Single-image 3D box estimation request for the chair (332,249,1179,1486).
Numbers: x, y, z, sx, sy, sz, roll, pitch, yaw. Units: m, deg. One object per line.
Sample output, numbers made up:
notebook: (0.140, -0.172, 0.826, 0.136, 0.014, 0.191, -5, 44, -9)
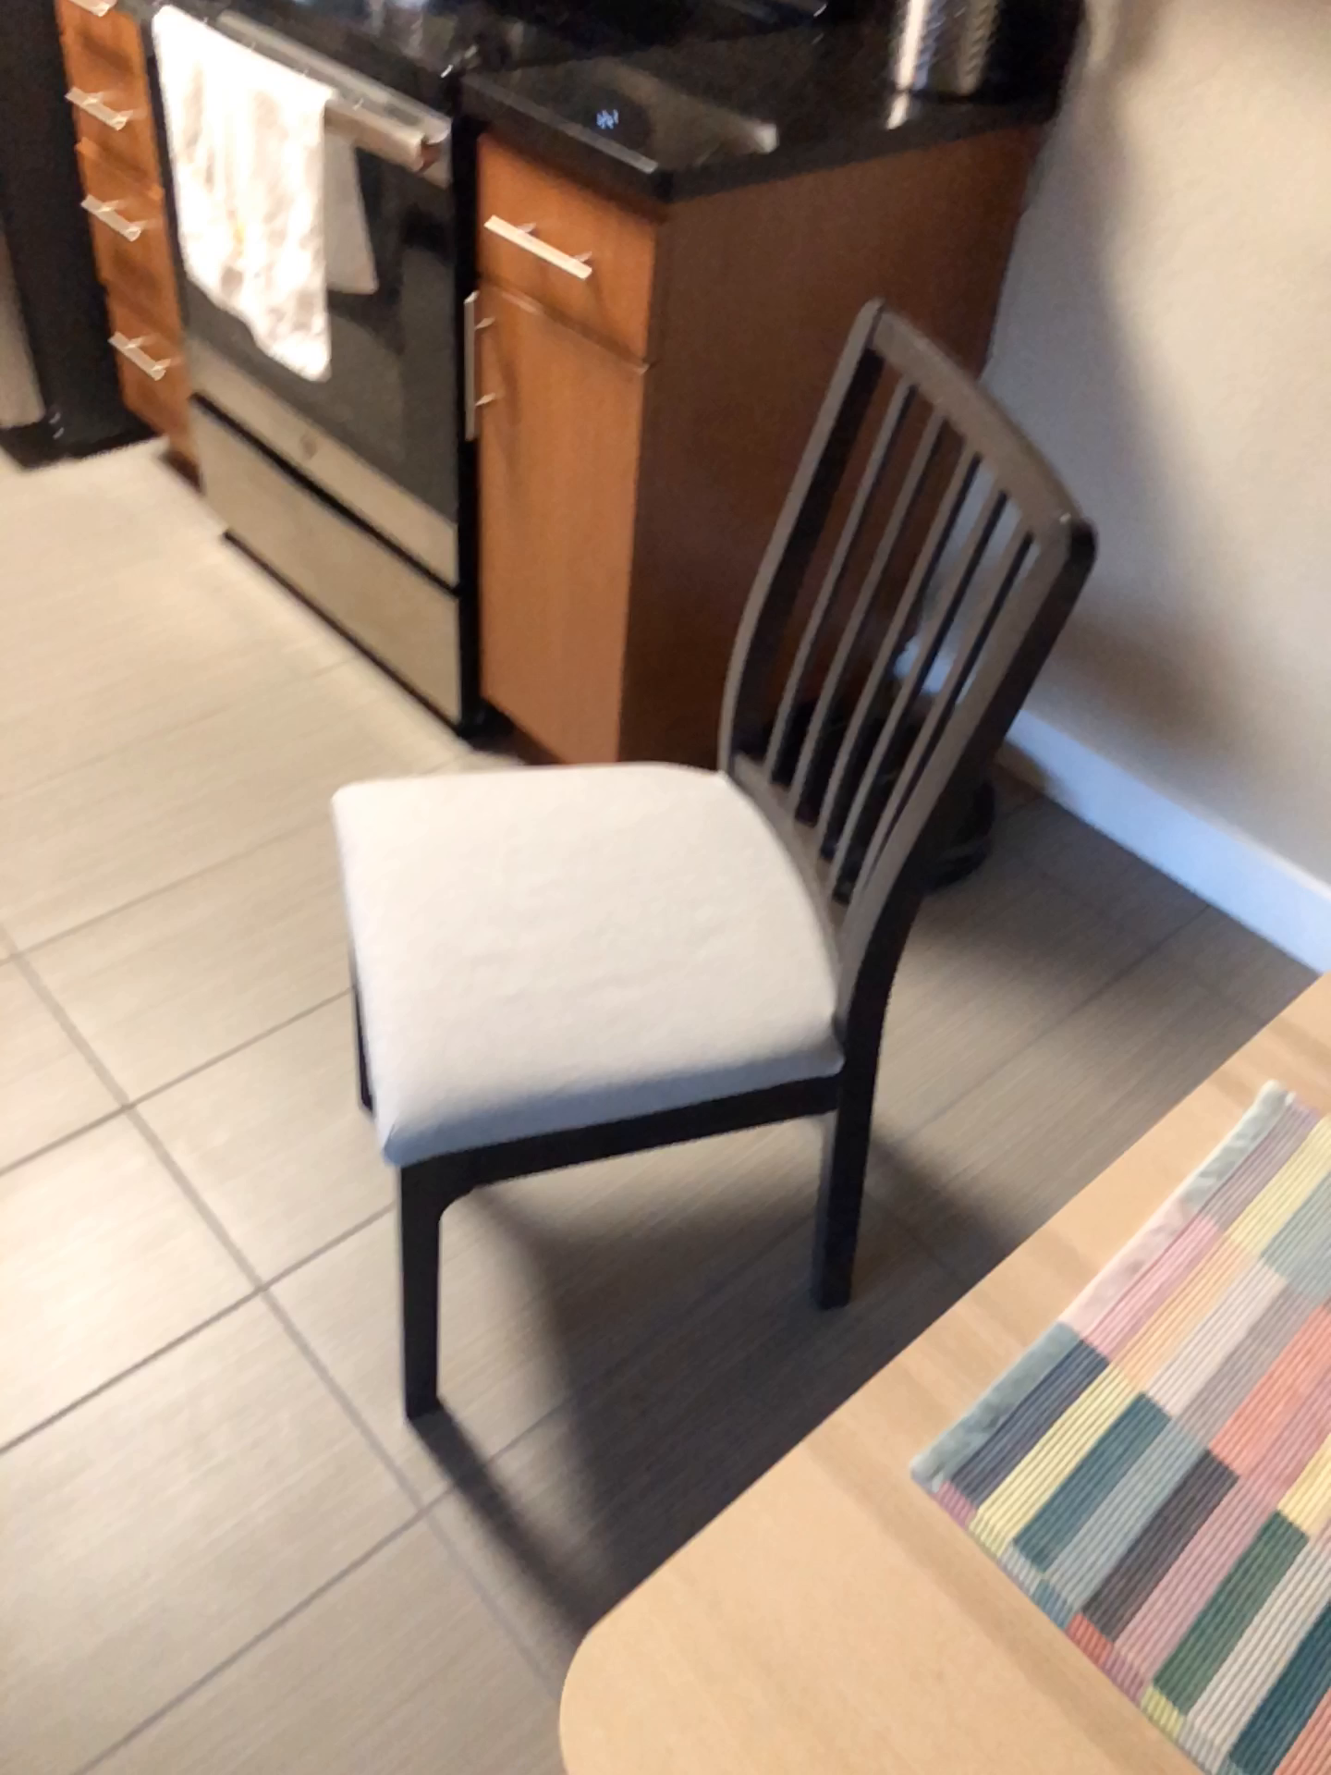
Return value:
chair: (-0.023, 0.054, 1.419, 0.510, 1.125, 0.482, -3, 43, -11)
